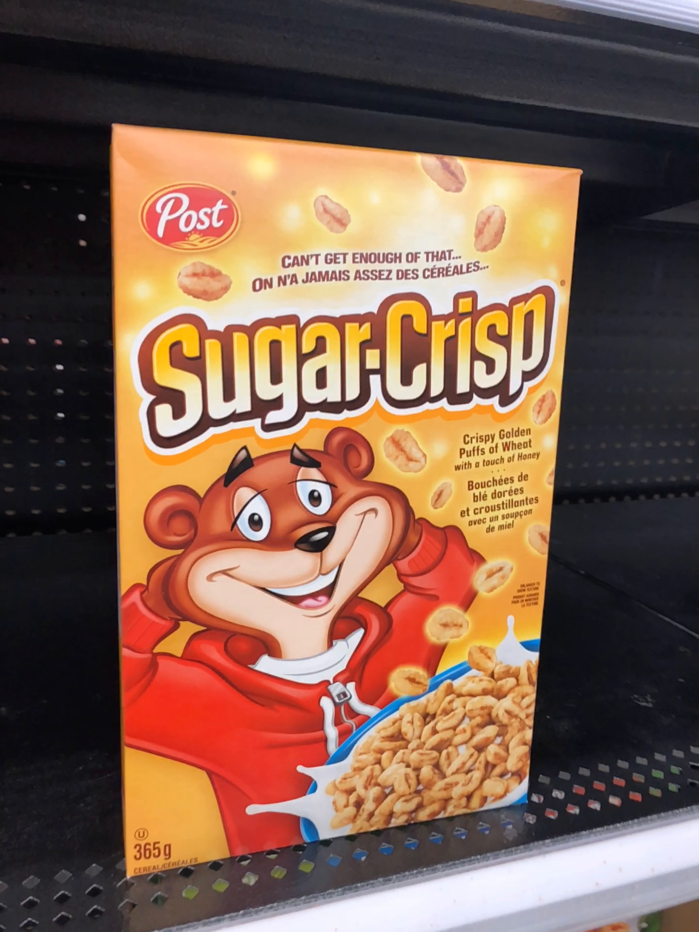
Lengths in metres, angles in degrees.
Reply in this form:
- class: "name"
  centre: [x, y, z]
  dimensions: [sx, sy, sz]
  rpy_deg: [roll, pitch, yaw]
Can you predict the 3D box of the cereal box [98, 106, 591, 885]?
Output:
- class: "cereal box"
  centre: [-0.007, 0.017, 0.357]
  dimensions: [0.200, 0.309, 0.060]
  rpy_deg: [-1, 12, -18]
